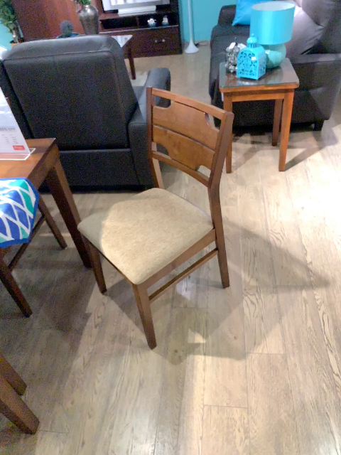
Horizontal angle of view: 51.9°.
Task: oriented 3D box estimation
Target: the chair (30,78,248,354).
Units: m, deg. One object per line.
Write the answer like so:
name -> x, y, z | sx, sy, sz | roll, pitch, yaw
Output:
chair -> -0.066, -0.041, 1.387 | 0.530, 0.827, 0.472 | -32, 46, -25
